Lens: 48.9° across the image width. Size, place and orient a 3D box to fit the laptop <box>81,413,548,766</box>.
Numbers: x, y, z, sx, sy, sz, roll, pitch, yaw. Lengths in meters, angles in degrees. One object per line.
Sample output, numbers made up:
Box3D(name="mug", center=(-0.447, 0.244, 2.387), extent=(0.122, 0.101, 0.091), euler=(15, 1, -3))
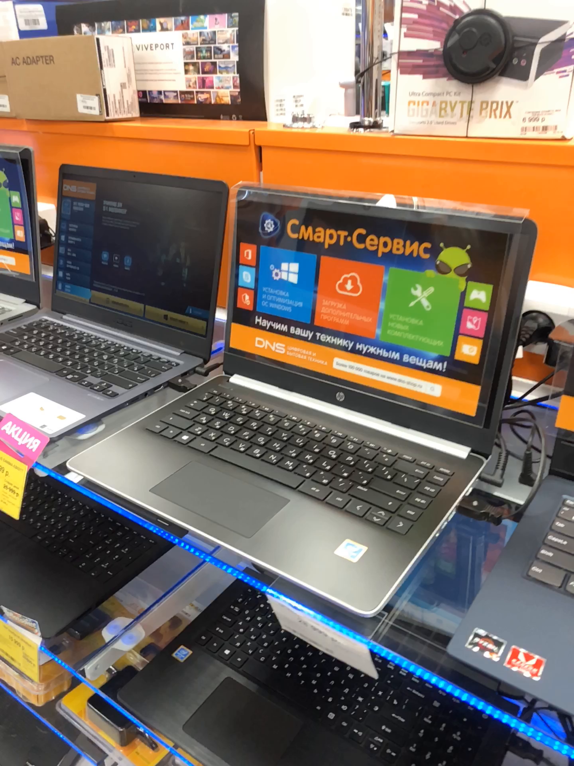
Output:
Box3D(name="laptop", center=(0.026, 0.237, 0.647), extent=(0.363, 0.245, 0.251), euler=(17, 32, 33))

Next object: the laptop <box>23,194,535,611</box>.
Box3D(name="laptop", center=(0.002, -0.027, 0.552), extent=(0.313, 0.197, 0.267), euler=(17, 33, 32))

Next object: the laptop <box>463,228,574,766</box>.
Box3D(name="laptop", center=(0.282, 0.056, 0.350), extent=(0.277, 0.205, 0.249), euler=(16, 32, 35))

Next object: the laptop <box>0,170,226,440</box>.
Box3D(name="laptop", center=(-0.281, -0.127, 0.767), extent=(0.313, 0.198, 0.280), euler=(17, 31, 31))
